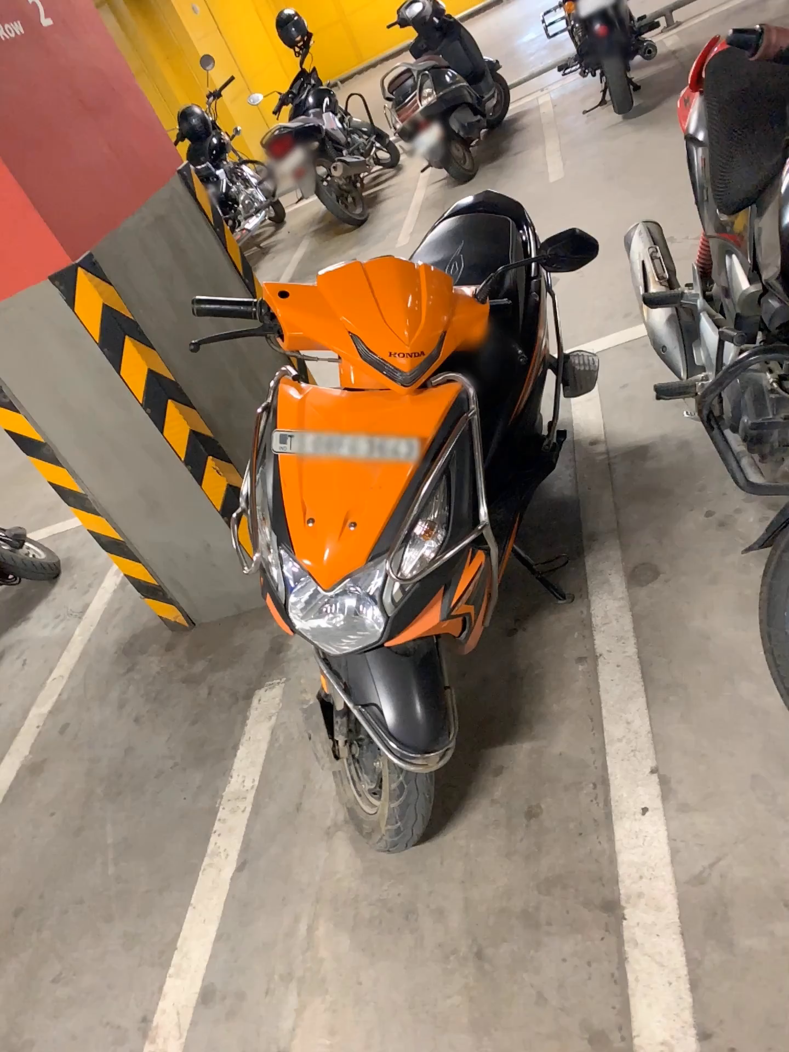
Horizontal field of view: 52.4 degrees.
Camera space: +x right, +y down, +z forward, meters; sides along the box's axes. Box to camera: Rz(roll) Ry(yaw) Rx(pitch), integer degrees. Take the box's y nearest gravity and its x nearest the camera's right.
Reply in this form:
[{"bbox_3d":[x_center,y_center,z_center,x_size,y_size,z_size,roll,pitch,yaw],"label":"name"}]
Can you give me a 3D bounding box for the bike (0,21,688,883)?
[{"bbox_3d":[0.172,-0.238,1.913,0.726,1.172,1.610,-11,36,28],"label":"bike"}]
